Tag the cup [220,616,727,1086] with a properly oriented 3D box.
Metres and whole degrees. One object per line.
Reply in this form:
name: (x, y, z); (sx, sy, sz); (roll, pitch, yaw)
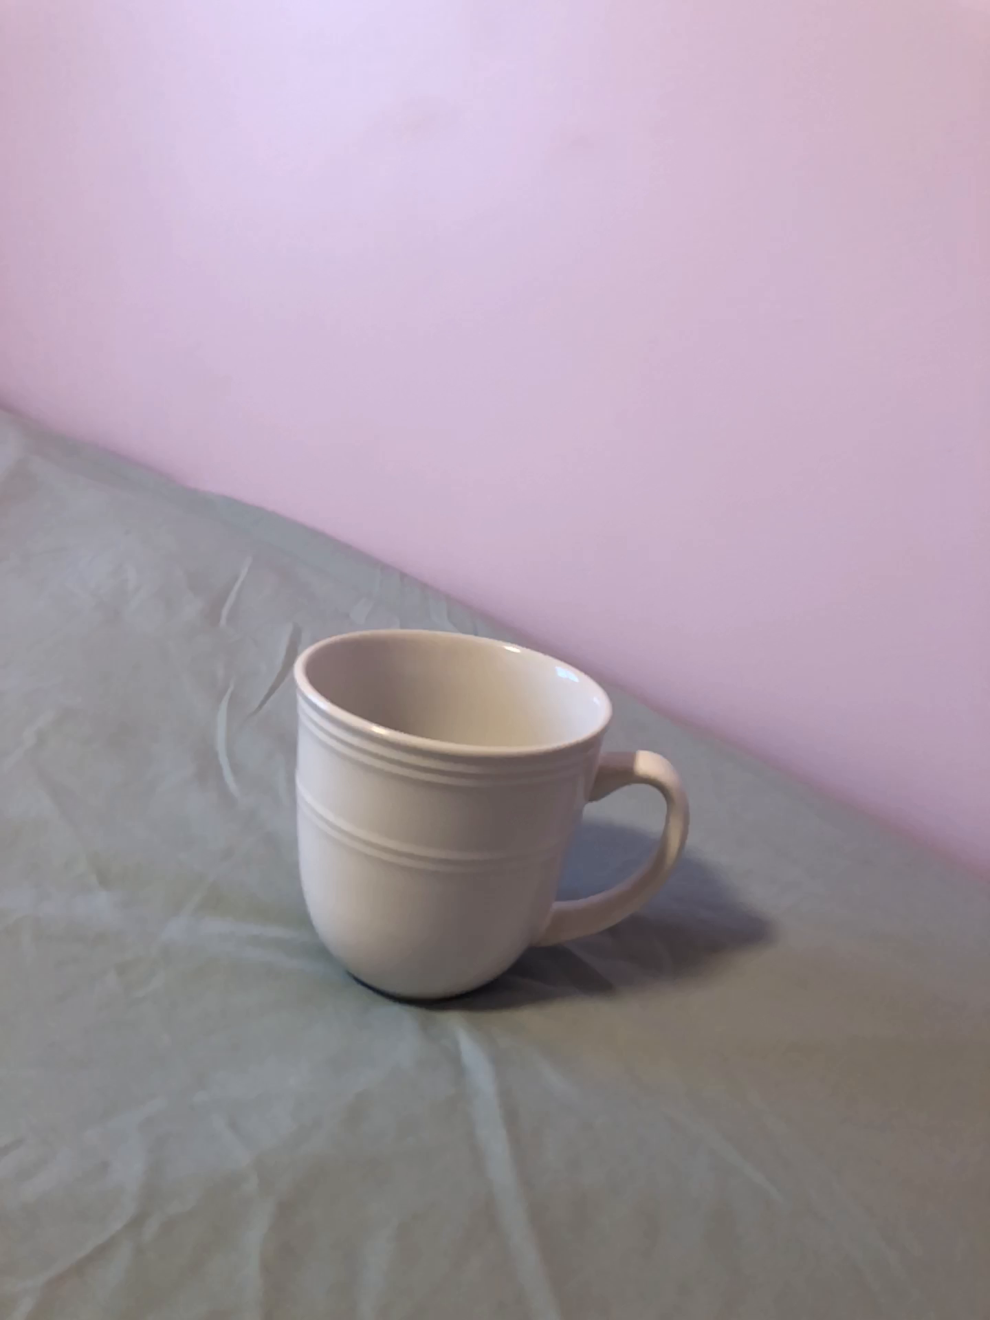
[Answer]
cup: (-0.006, 0.057, 0.368); (0.140, 0.100, 0.100); (8, 20, 3)
